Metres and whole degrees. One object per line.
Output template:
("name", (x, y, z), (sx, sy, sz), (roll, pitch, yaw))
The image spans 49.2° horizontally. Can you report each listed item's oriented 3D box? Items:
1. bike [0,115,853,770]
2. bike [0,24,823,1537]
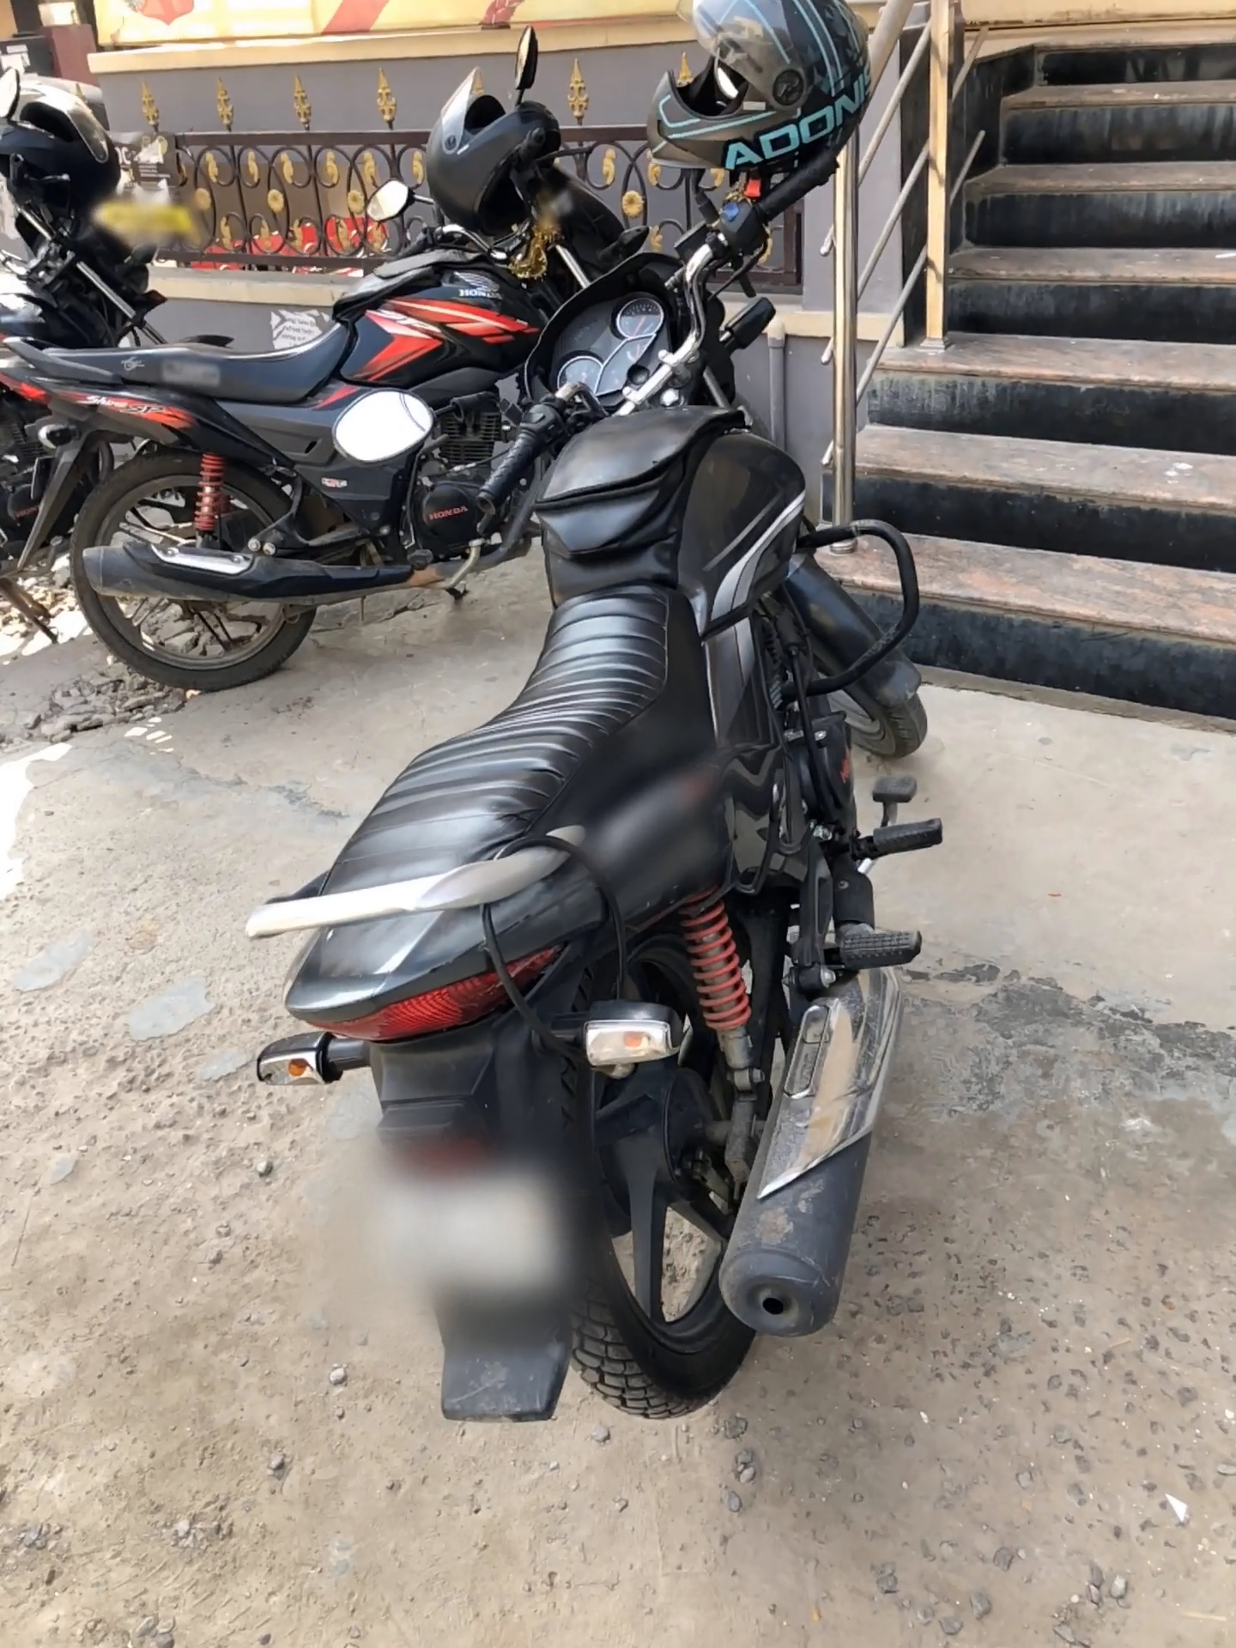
("bike", (-0.382, -0.898, 2.984), (1.600, 1.056, 0.687), (-14, 32, -17))
("bike", (-0.100, -0.311, 1.877), (0.747, 1.155, 1.745), (1, 35, 10))
